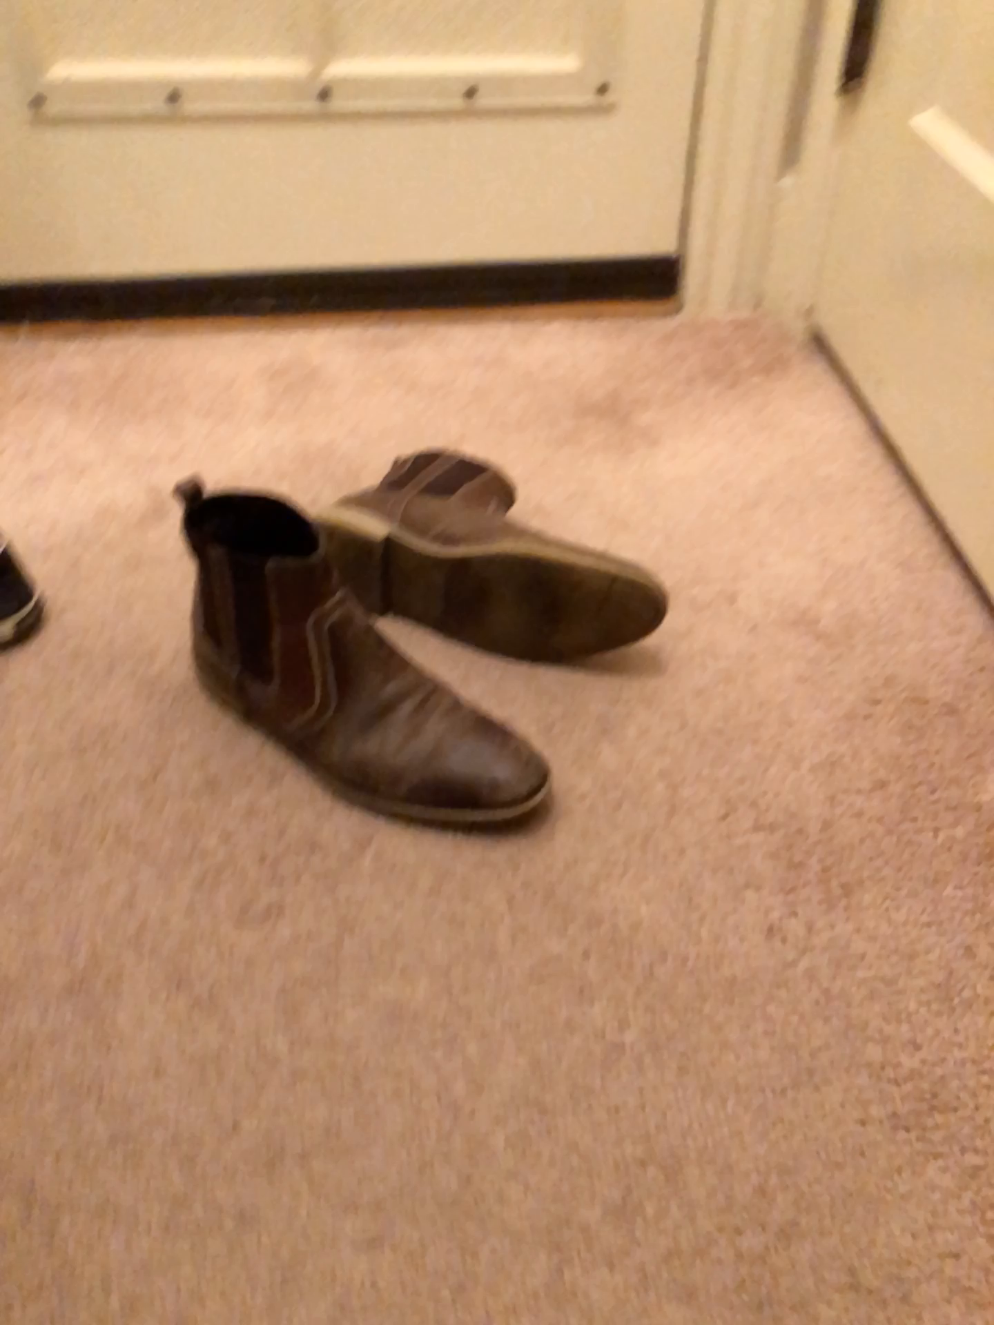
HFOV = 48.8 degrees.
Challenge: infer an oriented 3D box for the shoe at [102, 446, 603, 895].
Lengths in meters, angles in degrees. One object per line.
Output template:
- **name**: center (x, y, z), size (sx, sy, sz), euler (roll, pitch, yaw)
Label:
- **shoe**: center (-0.096, -0.002, 0.749), size (0.308, 0.175, 0.116), euler (23, 47, 23)

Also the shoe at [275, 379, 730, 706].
- **shoe**: center (0.009, -0.110, 0.909), size (0.314, 0.114, 0.187), euler (16, 47, 17)
